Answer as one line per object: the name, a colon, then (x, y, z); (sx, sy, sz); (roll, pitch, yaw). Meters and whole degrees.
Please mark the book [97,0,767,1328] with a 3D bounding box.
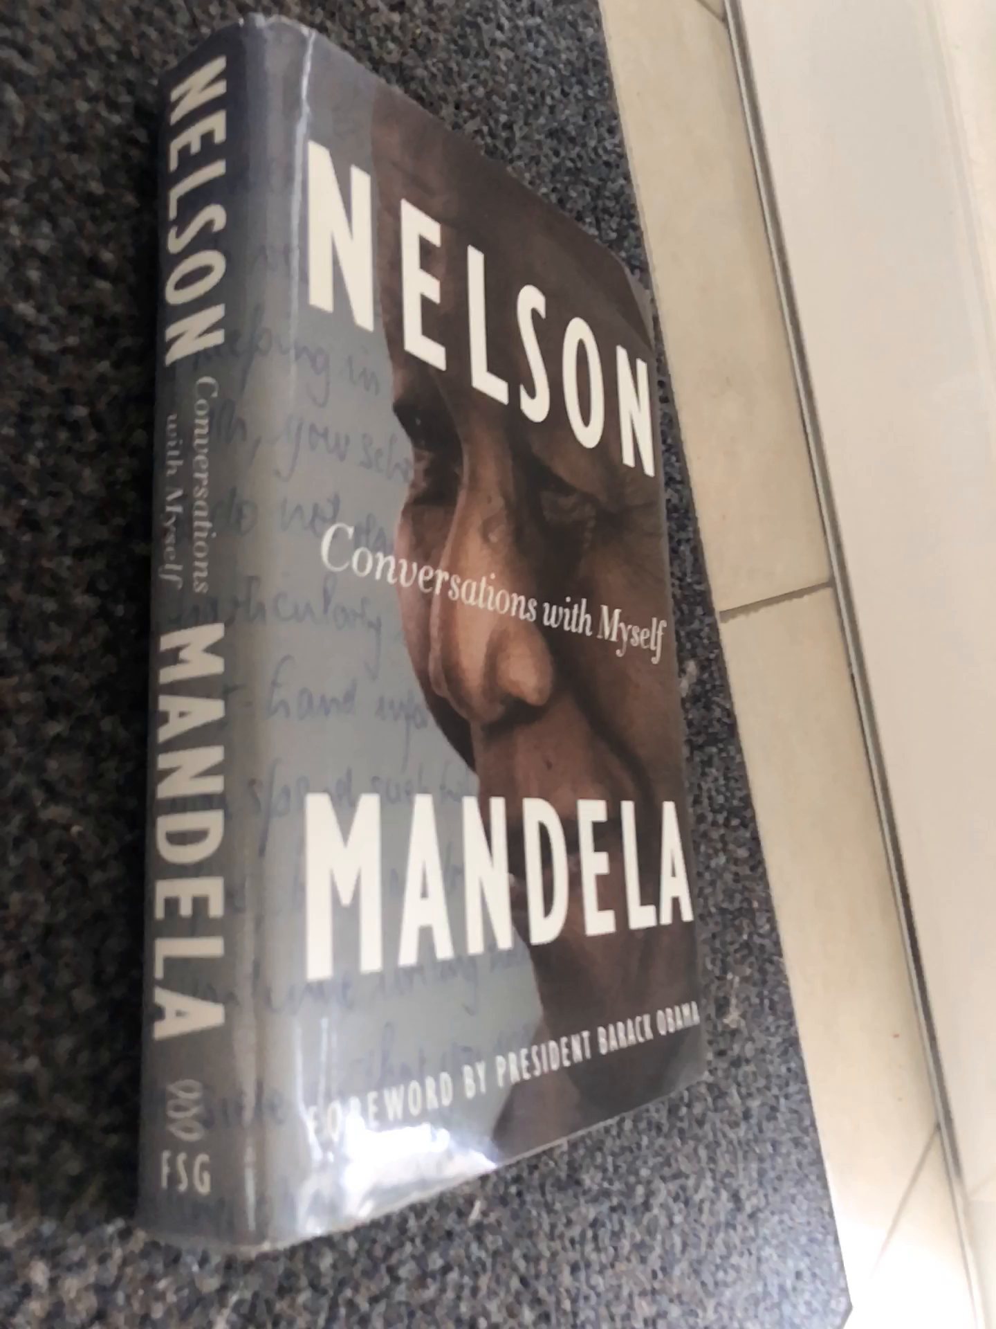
book: (-0.003, -0.013, 0.264); (0.171, 0.050, 0.250); (13, 71, -54)
